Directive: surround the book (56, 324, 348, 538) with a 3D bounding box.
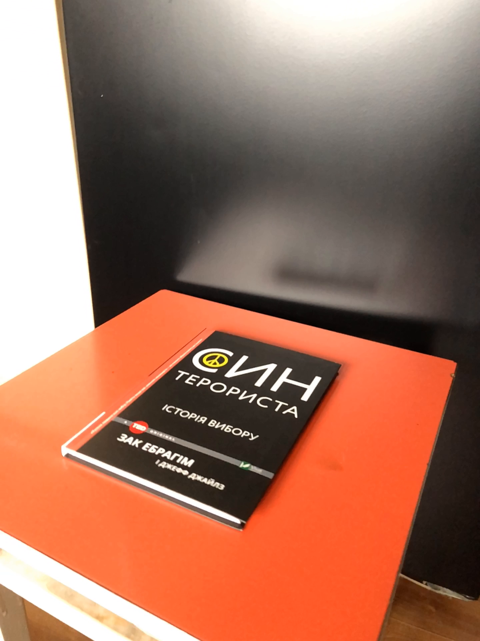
[{"bbox_3d":[-0.016,0.067,0.425,0.150,0.013,0.206,14,29,23],"label":"book"}]
